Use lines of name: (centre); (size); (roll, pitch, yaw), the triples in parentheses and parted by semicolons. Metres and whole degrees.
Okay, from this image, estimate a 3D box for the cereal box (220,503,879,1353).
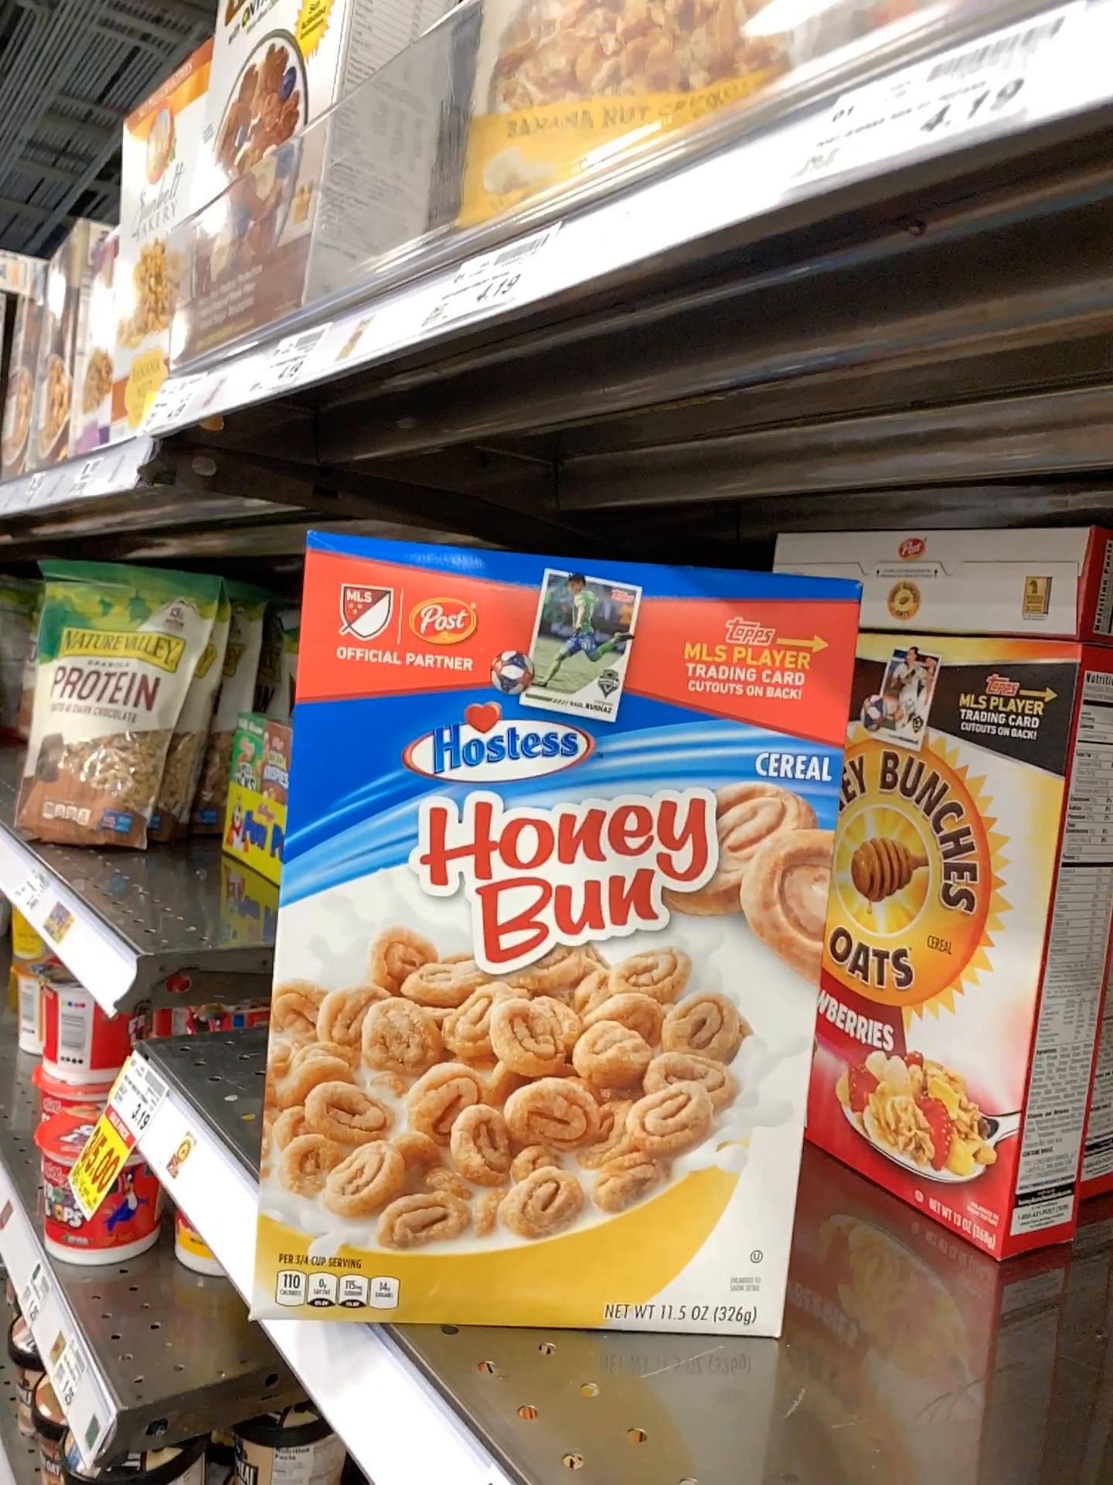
cereal box: (-0.005, 0.067, 0.421); (0.200, 0.280, 0.060); (5, 3, -6)
